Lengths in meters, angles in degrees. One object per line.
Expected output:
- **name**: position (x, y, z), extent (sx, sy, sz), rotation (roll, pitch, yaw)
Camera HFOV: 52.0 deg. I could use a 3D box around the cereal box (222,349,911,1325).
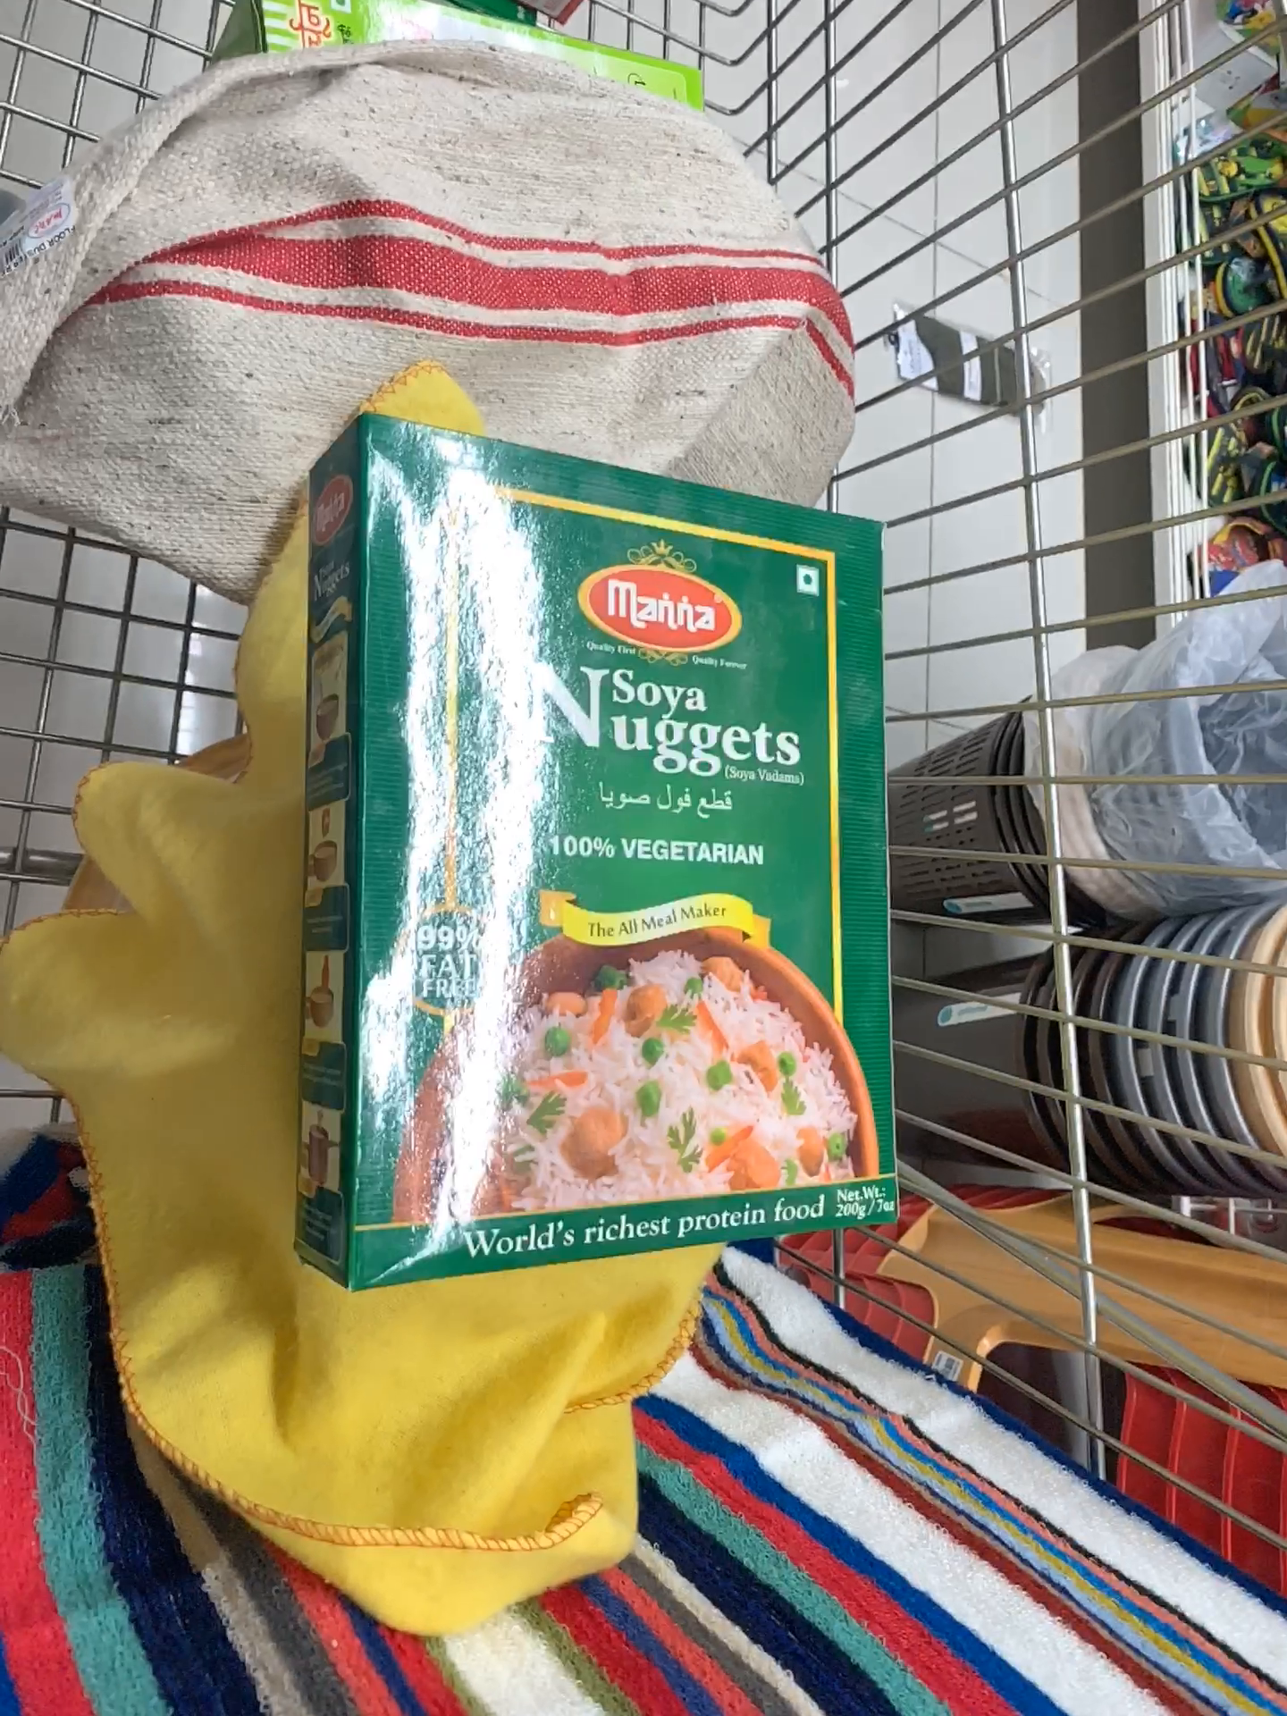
- **cereal box**: position (-0.014, -0.001, 0.335), extent (0.161, 0.060, 0.200), rotation (4, 84, -30)
